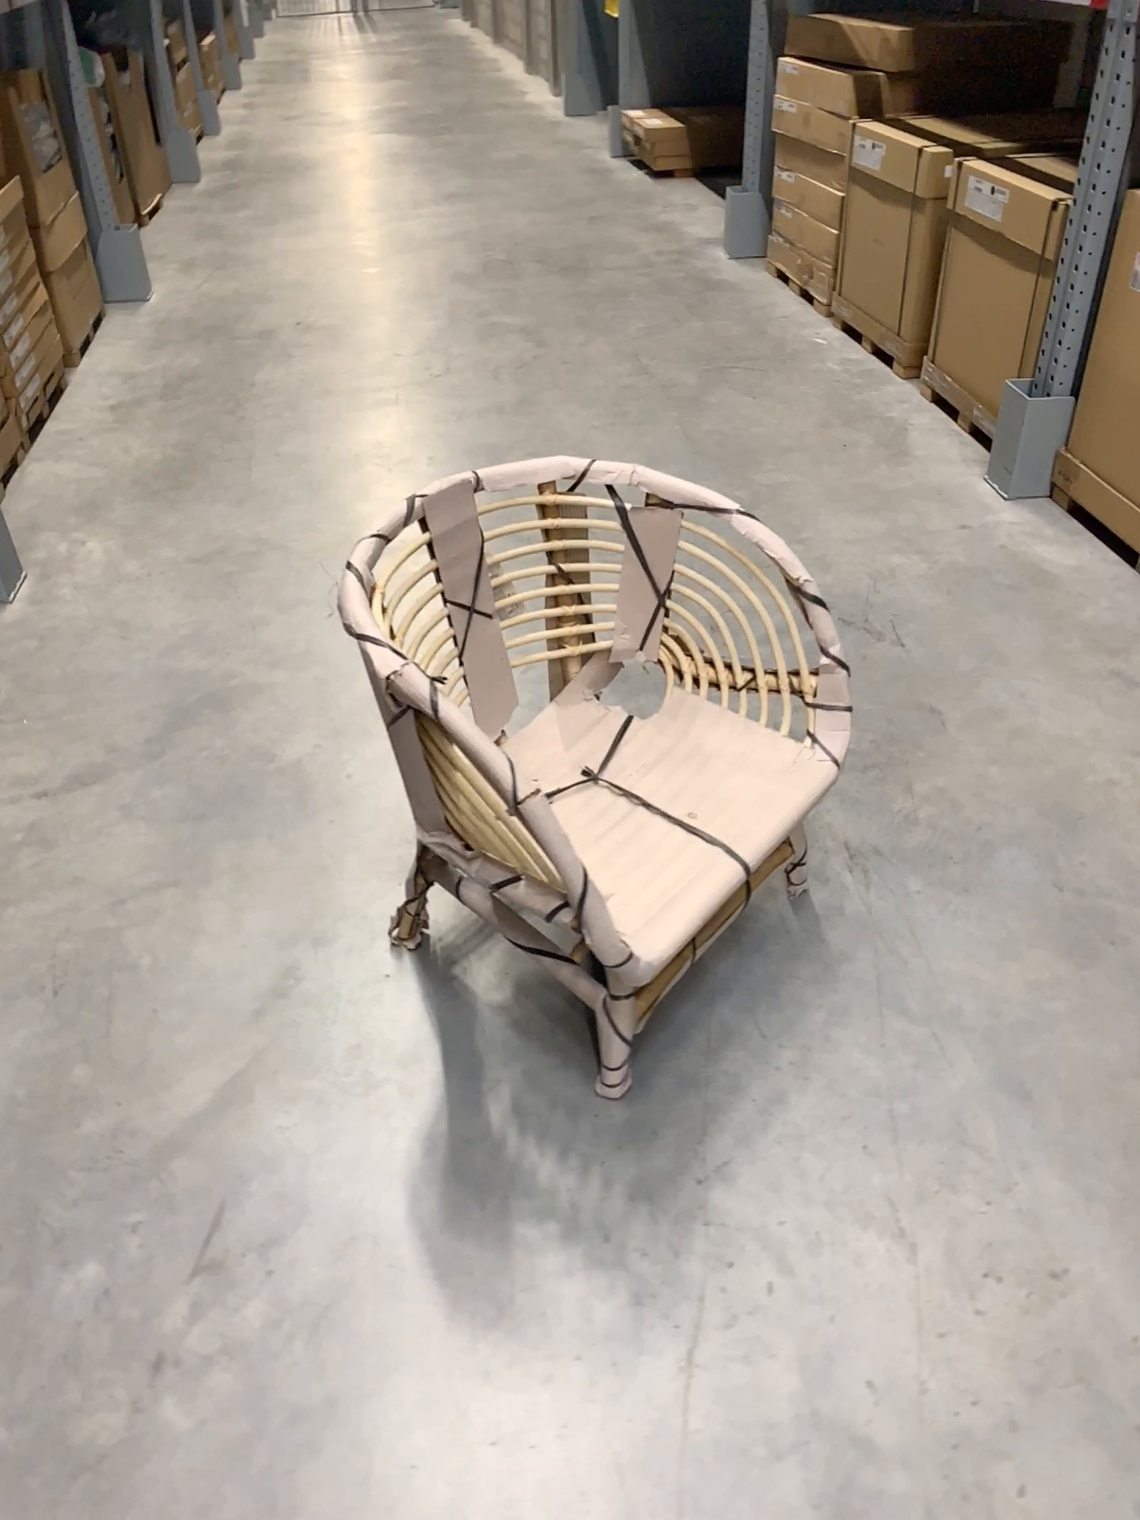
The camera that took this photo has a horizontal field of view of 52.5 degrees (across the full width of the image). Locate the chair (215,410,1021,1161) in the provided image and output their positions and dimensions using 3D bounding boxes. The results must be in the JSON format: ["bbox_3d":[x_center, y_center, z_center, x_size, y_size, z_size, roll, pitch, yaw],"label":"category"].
[{"bbox_3d":[0.082,-0.050,1.687,0.762,0.567,0.752,25,43,32],"label":"chair"}]
